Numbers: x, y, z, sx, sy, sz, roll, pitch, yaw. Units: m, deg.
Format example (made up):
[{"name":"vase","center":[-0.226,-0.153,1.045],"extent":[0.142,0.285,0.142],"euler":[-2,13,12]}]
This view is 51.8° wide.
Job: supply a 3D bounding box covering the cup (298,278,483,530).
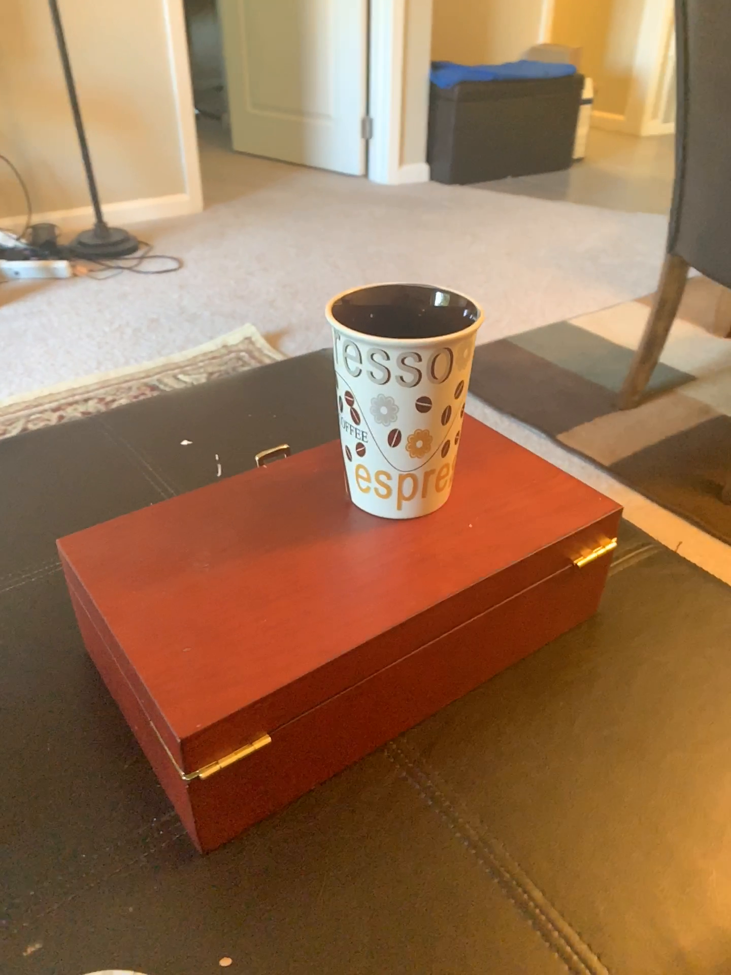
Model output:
[{"name":"cup","center":[0.017,-0.050,0.435],"extent":[0.090,0.109,0.091],"euler":[0,34,0]}]
